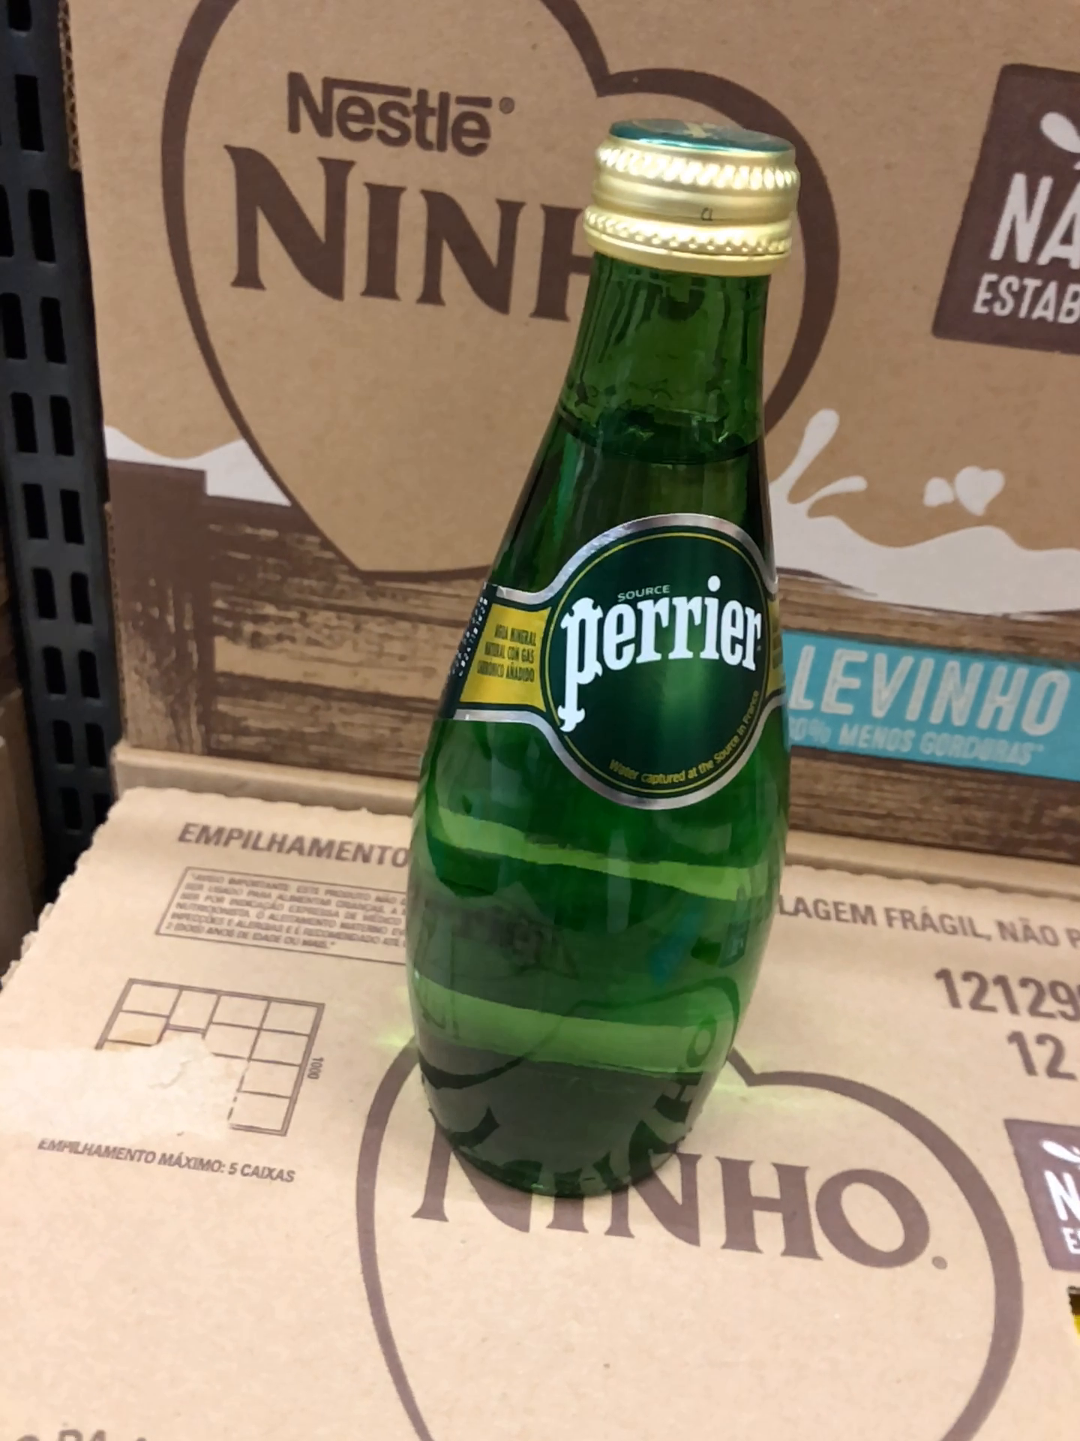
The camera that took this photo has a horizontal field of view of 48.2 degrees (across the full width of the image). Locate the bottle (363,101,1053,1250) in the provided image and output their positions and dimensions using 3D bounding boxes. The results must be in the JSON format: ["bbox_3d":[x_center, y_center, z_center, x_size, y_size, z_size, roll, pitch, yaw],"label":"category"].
[{"bbox_3d":[0.011,0.001,0.205,0.070,0.179,0.060,-4,33,-16],"label":"bottle"}]
